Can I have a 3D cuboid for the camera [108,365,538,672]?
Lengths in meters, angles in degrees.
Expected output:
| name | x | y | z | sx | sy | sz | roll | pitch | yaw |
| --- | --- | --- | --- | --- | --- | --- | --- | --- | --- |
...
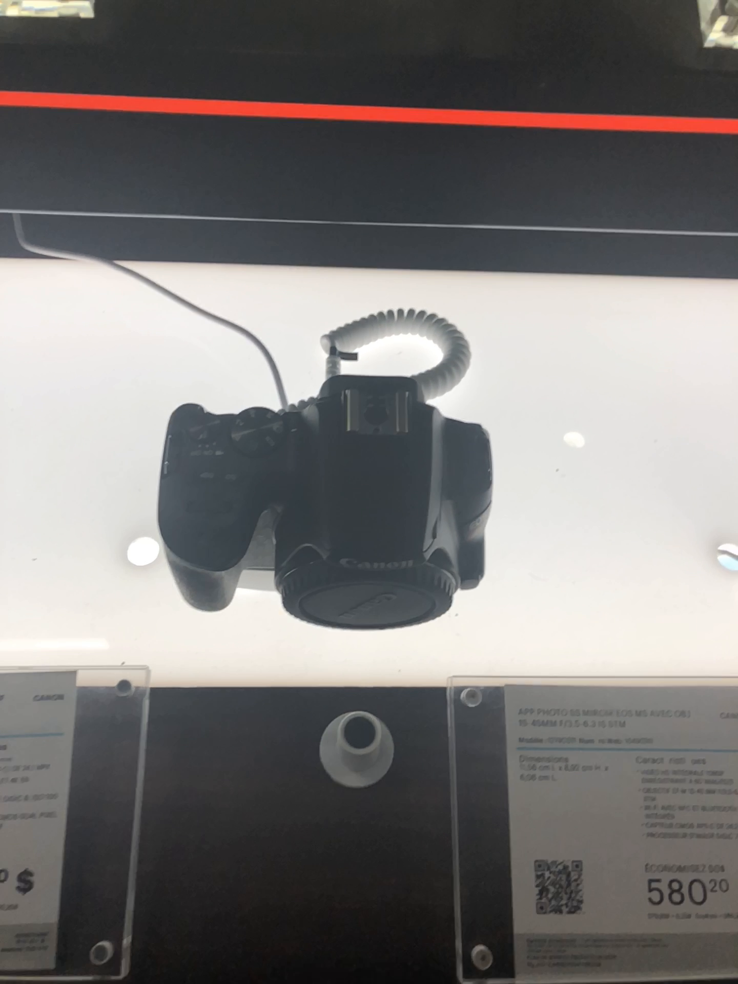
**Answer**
| name | x | y | z | sx | sy | sz | roll | pitch | yaw |
| --- | --- | --- | --- | --- | --- | --- | --- | --- | --- |
| camera | -0.015 | 0.012 | 0.285 | 0.123 | 0.071 | 0.080 | 1 | 58 | -4 |
